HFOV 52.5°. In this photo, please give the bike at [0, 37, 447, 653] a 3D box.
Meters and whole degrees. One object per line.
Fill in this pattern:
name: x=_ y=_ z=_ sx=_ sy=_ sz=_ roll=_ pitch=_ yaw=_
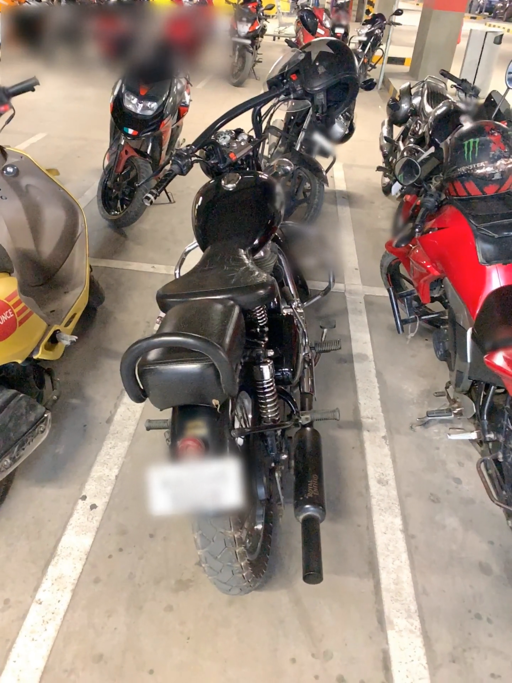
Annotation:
bike: x=-0.231 y=-0.262 z=1.937 sx=0.798 sy=1.303 sz=2.032 roll=2 pitch=35 yaw=-4
